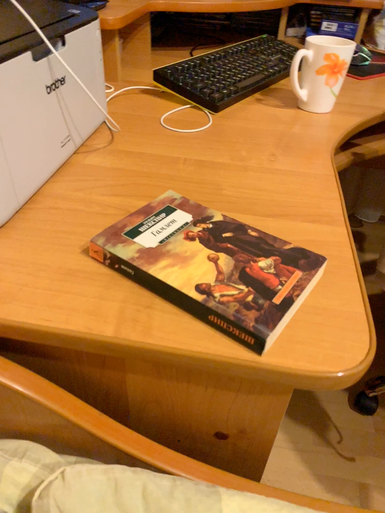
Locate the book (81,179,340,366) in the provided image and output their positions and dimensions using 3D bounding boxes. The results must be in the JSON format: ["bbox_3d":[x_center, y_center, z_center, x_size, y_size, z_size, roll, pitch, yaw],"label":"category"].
[{"bbox_3d":[0.014,-0.003,0.348,0.190,0.030,0.121,28,44,26],"label":"book"}]
